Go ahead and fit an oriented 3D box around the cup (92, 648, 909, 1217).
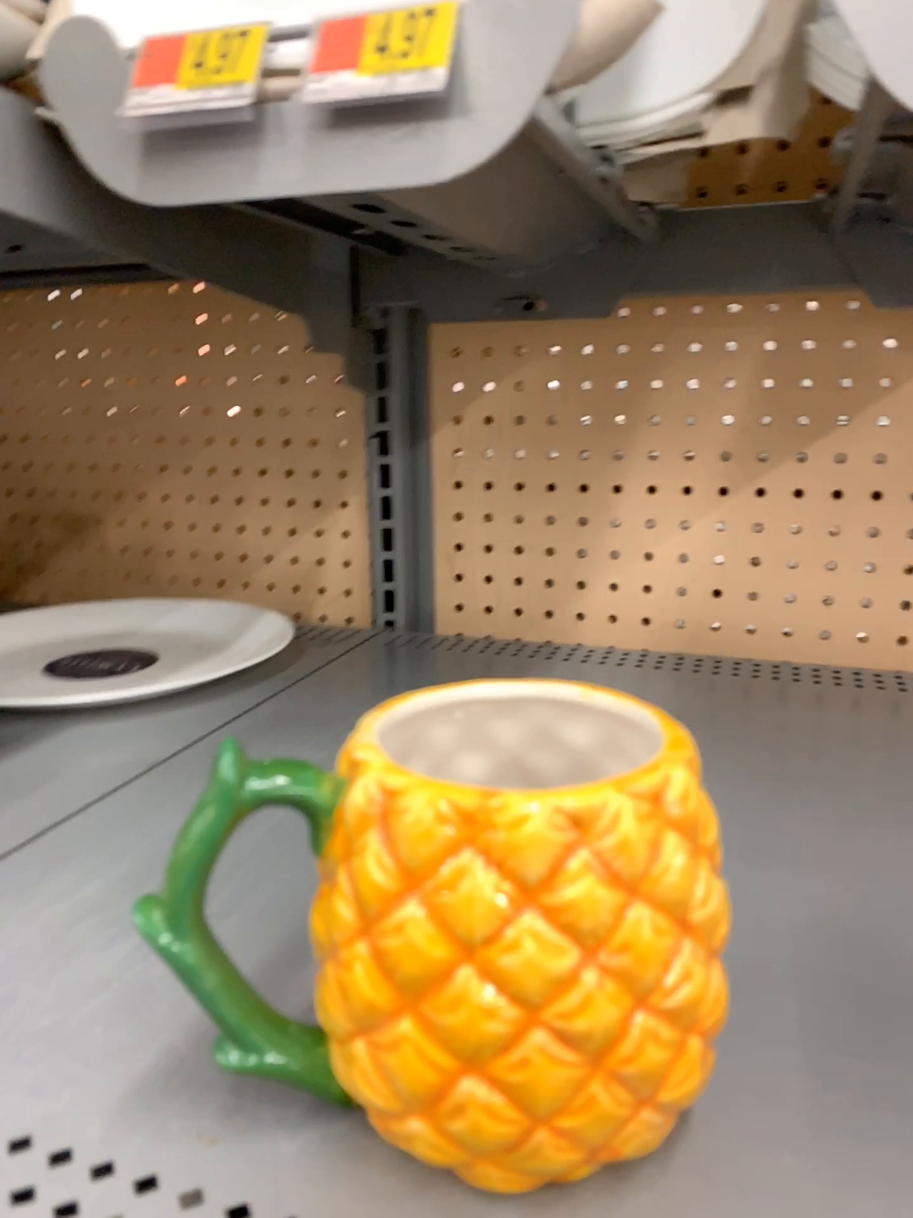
[{"bbox_3d":[0.008,0.074,0.240,0.160,0.100,0.100,-2,13,-4],"label":"cup"}]
